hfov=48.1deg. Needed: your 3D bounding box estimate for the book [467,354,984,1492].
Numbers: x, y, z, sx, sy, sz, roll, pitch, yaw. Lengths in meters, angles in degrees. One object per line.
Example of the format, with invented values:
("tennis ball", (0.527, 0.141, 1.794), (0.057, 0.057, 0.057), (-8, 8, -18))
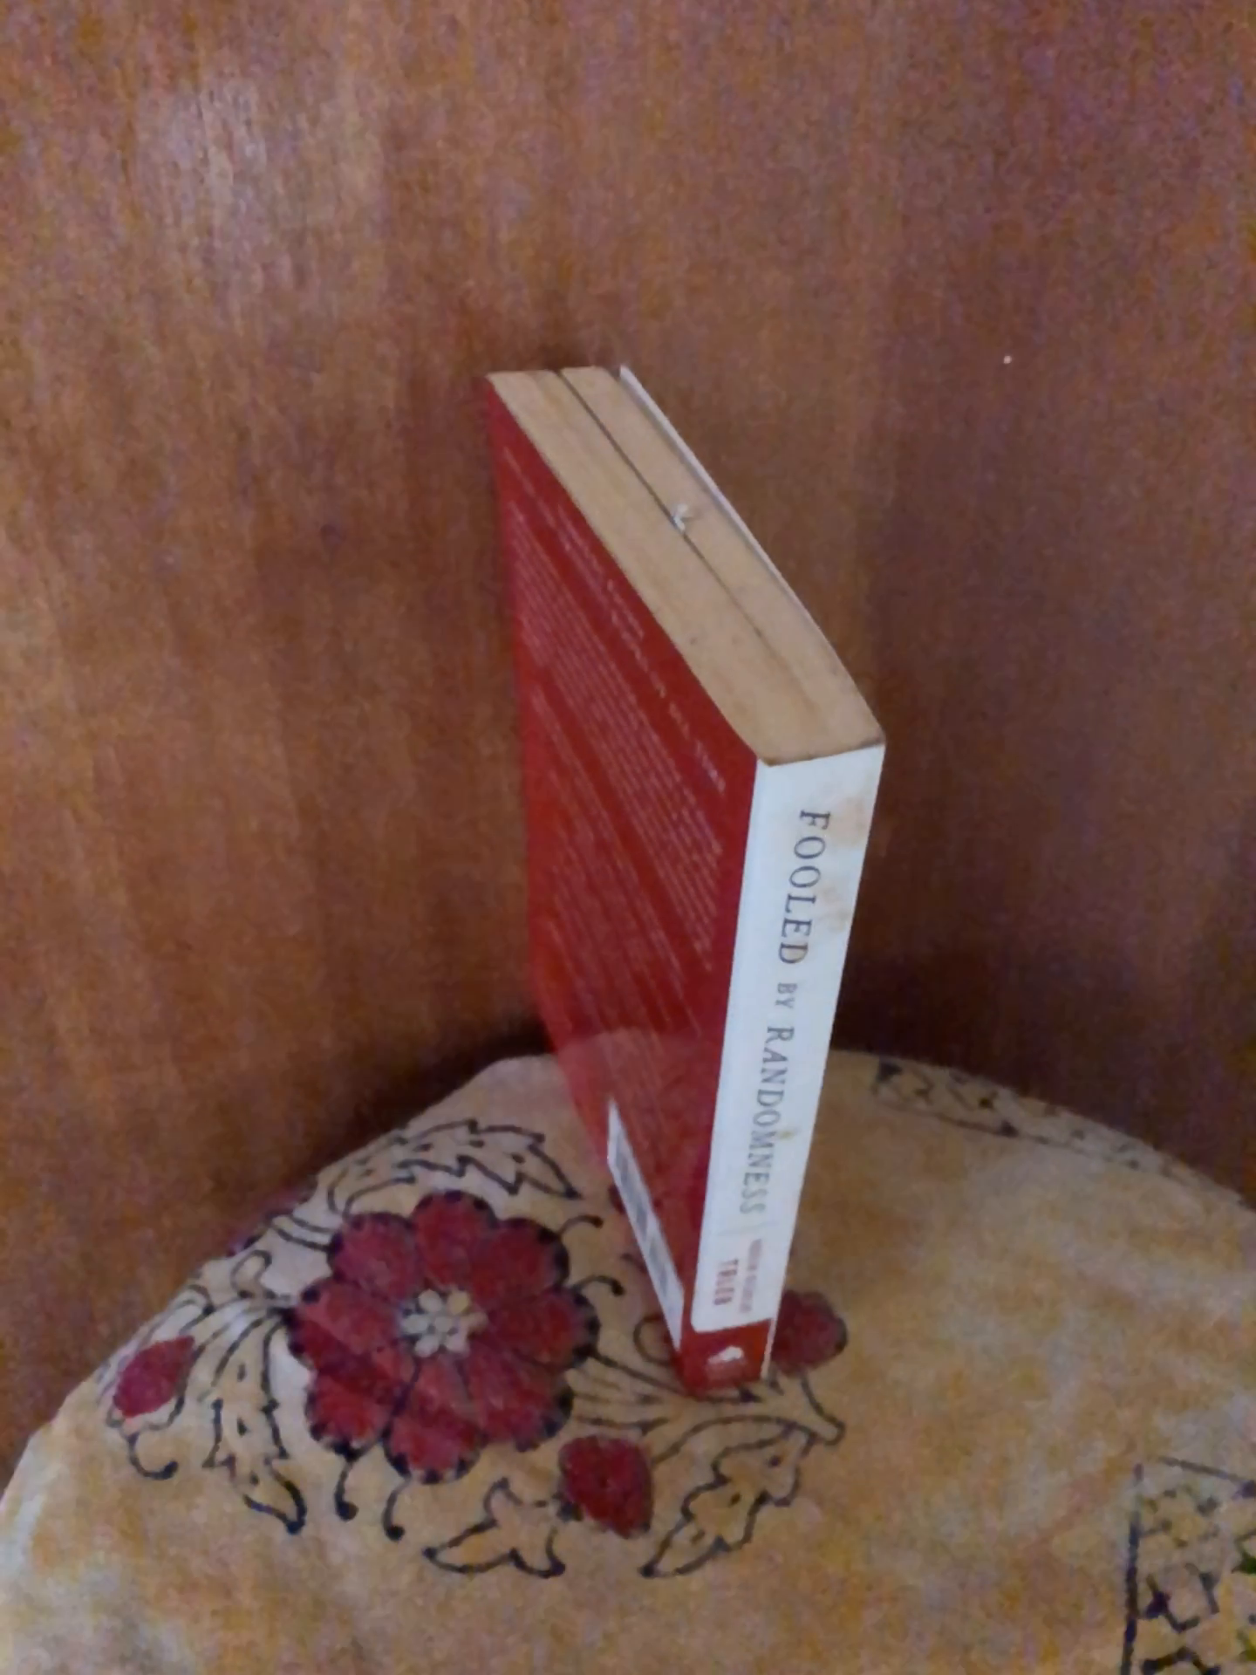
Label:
("book", (0.005, 0.017, 0.321), (0.040, 0.199, 0.161), (-10, 38, -16))
